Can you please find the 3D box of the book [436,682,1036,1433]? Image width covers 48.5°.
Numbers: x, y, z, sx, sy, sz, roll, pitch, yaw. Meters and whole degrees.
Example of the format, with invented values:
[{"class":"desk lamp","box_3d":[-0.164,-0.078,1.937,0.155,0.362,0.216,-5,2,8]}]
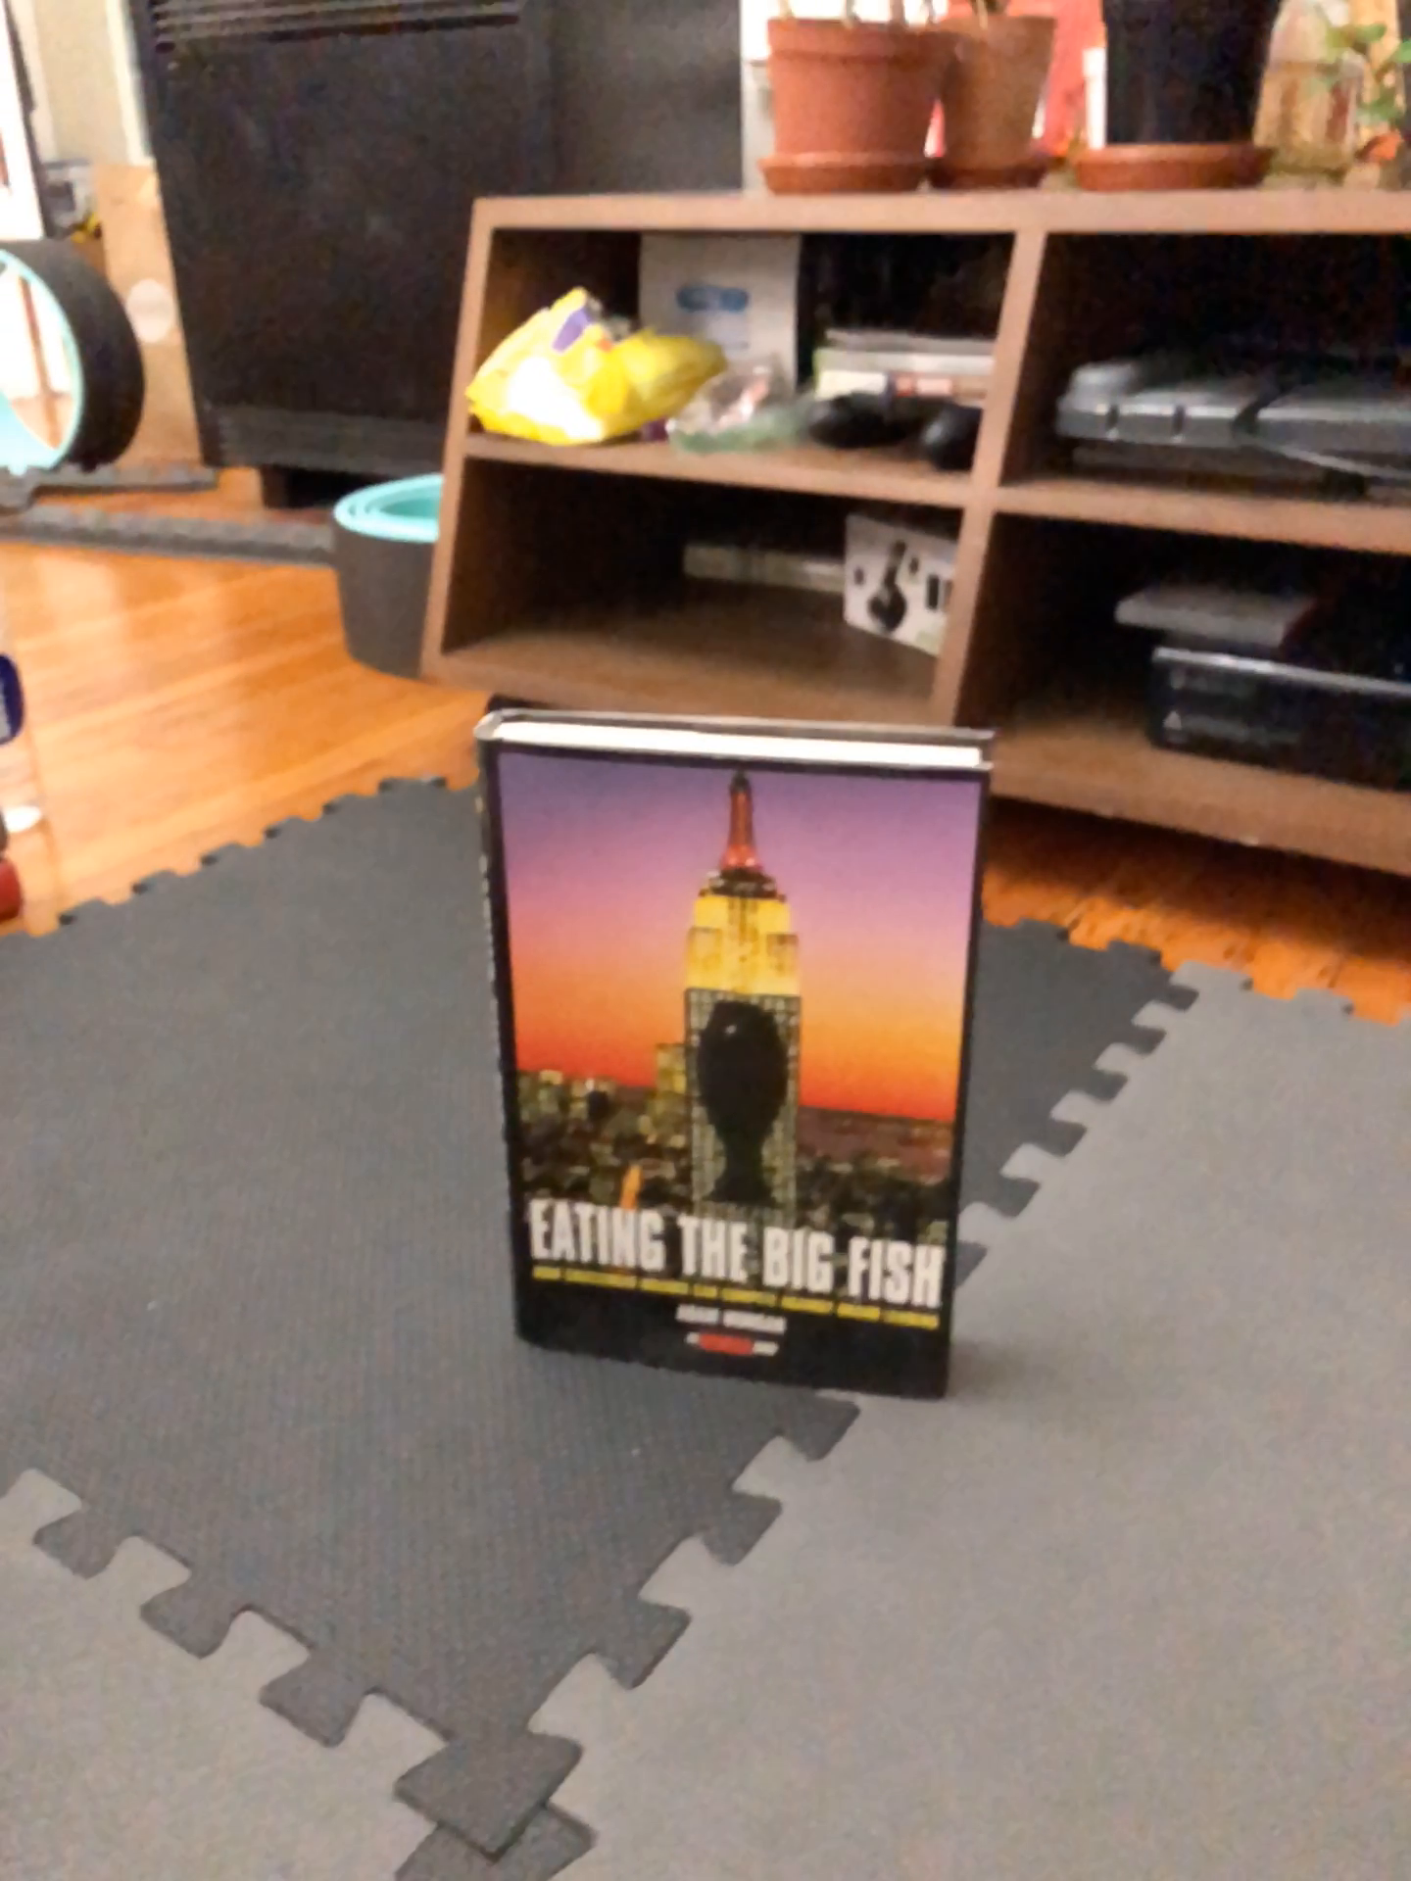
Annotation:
[{"class":"book","box_3d":[0.013,0.046,0.545,0.180,0.259,0.050,3,27,9]}]
